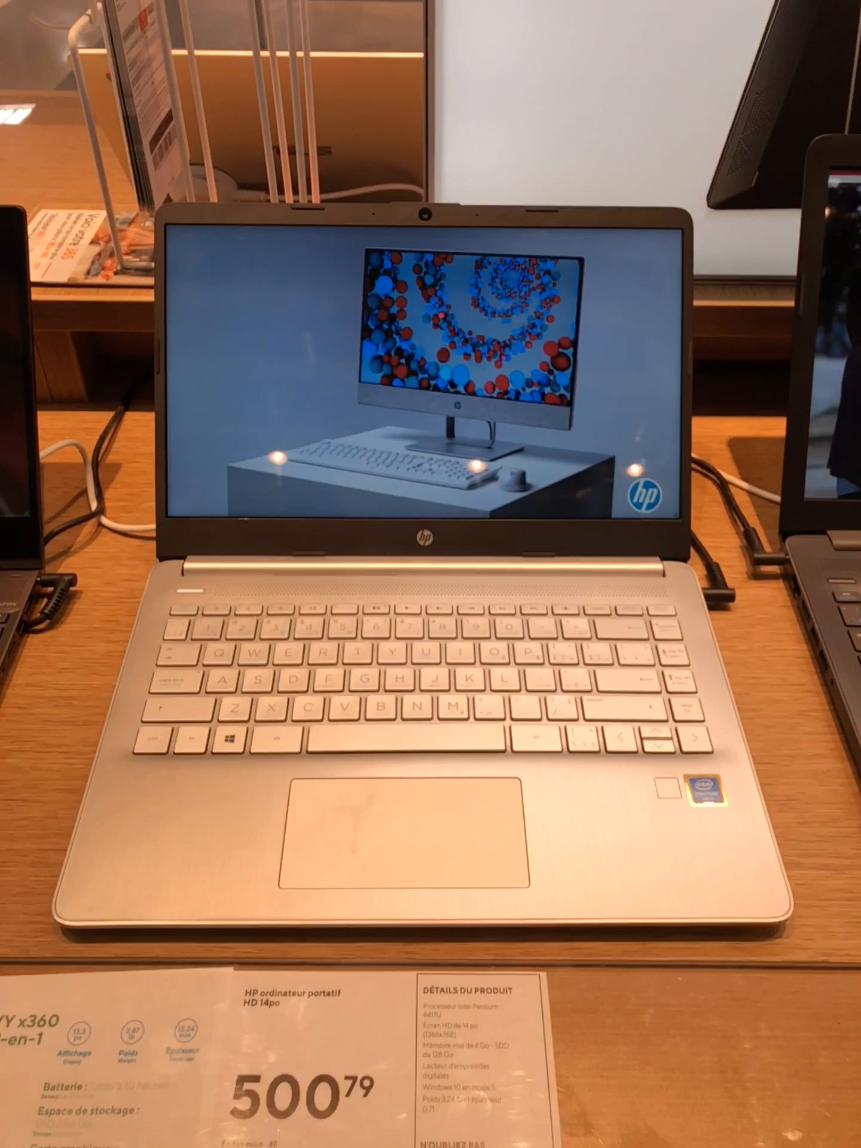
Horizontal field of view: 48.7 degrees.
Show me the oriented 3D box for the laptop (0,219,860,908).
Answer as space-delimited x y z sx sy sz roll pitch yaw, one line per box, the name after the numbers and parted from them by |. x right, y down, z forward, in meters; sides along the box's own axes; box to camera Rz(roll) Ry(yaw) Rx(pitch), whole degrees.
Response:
0.003 -0.029 0.495 0.307 0.167 0.347 -1 42 2 | laptop
